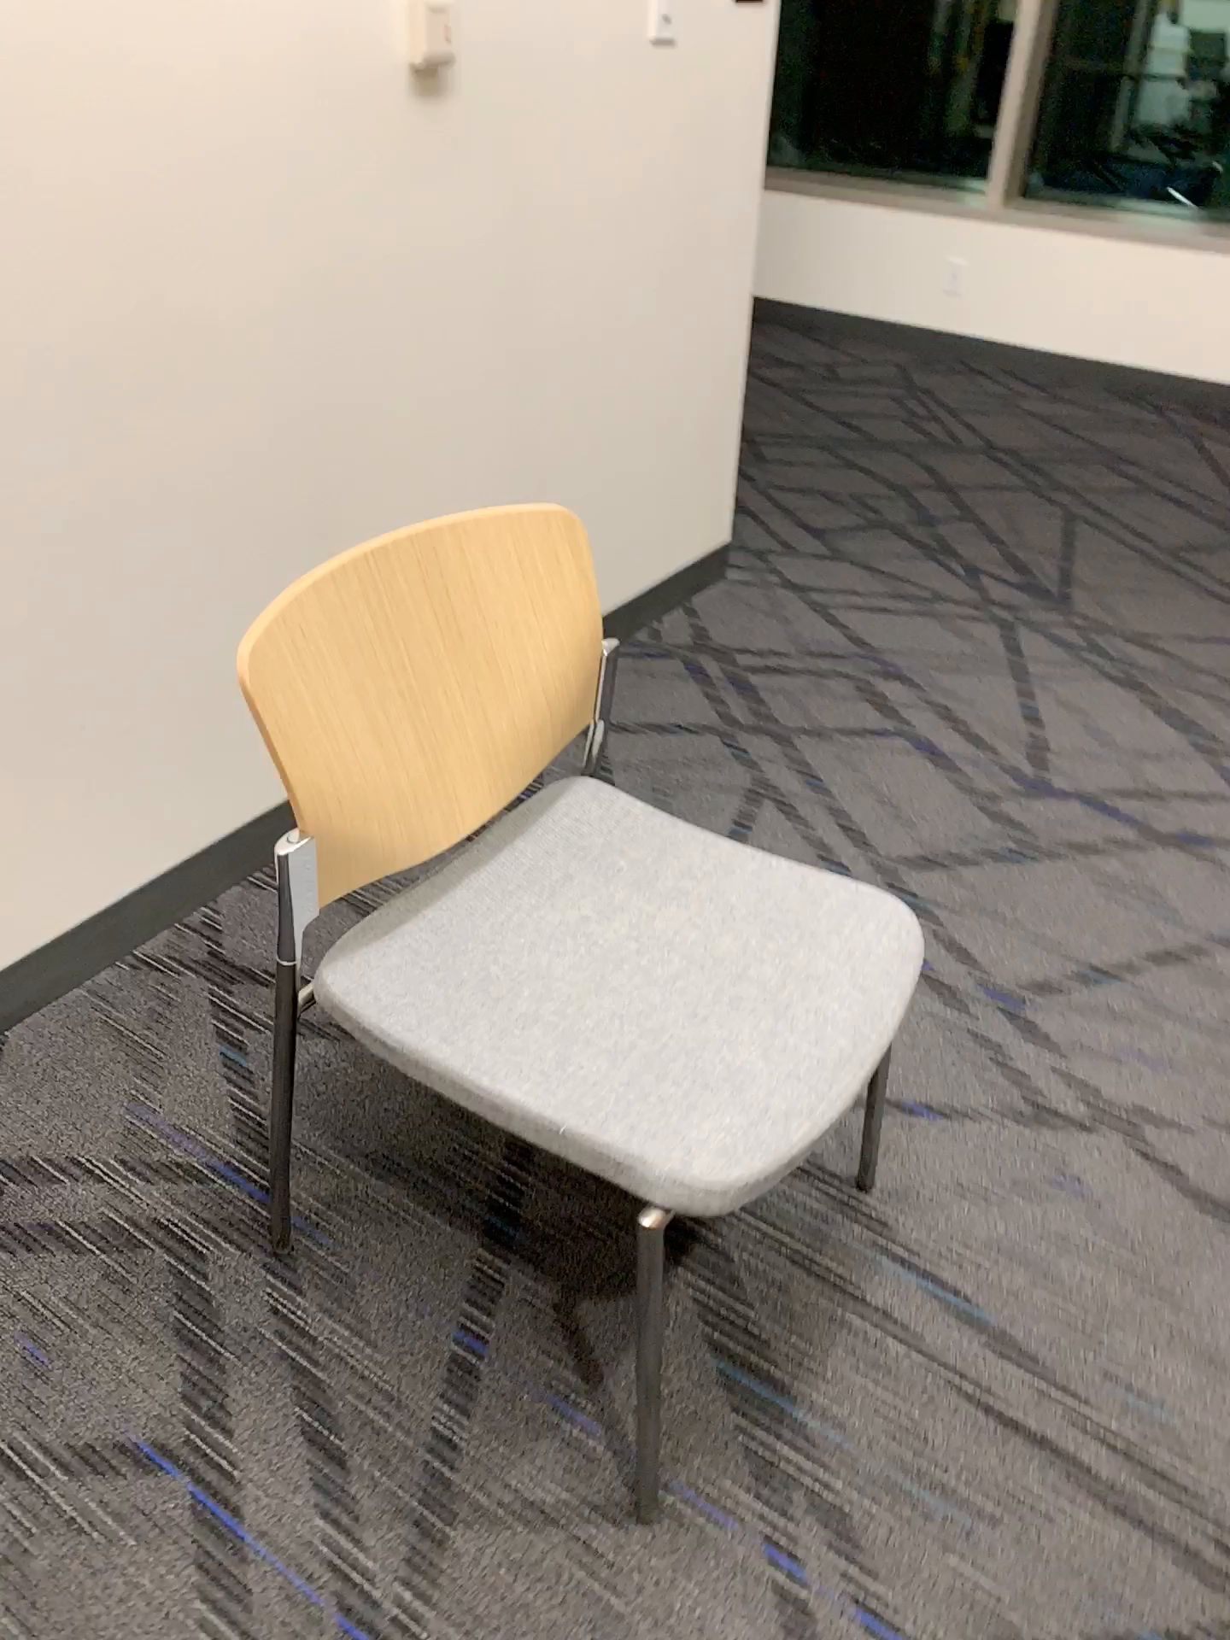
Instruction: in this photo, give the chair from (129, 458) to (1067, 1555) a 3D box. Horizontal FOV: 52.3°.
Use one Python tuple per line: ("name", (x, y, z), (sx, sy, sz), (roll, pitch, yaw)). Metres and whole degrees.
("chair", (0.003, 0.129, 1.203), (0.537, 0.704, 0.557), (22, 39, 26))
